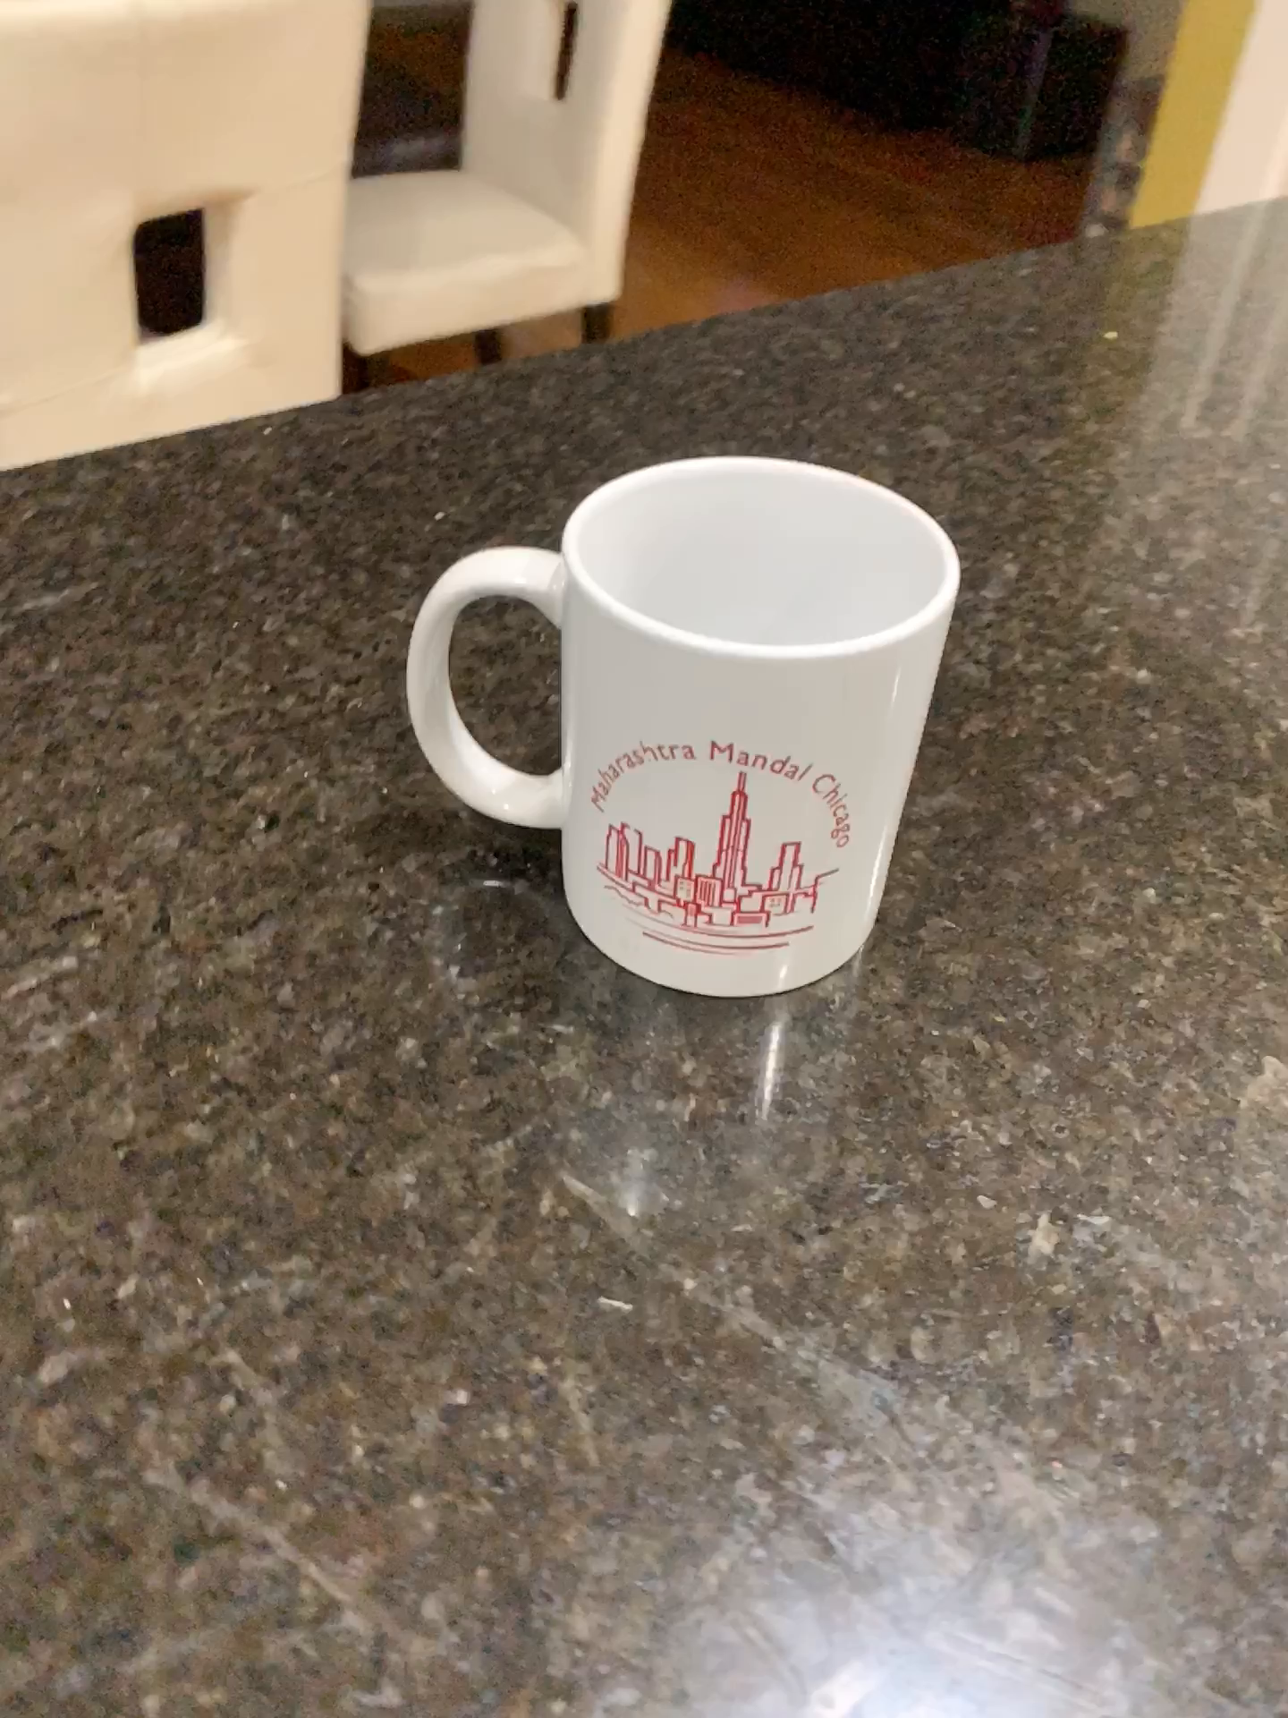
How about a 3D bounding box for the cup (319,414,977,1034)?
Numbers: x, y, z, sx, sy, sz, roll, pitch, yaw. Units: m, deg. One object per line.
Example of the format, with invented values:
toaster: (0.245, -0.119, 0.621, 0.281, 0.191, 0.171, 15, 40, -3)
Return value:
cup: (0.005, -0.033, 0.310, 0.124, 0.097, 0.082, 10, 41, 8)
